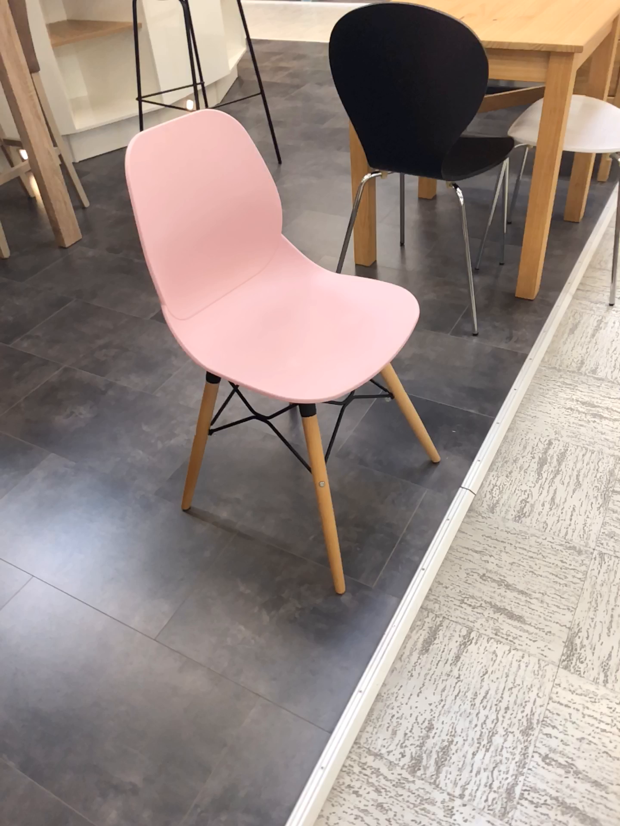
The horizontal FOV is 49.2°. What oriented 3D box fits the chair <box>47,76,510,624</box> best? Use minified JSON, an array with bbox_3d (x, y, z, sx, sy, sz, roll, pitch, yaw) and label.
[{"bbox_3d":[-0.010,-0.137,1.398,0.549,0.847,0.555,21,47,27],"label":"chair"}]
